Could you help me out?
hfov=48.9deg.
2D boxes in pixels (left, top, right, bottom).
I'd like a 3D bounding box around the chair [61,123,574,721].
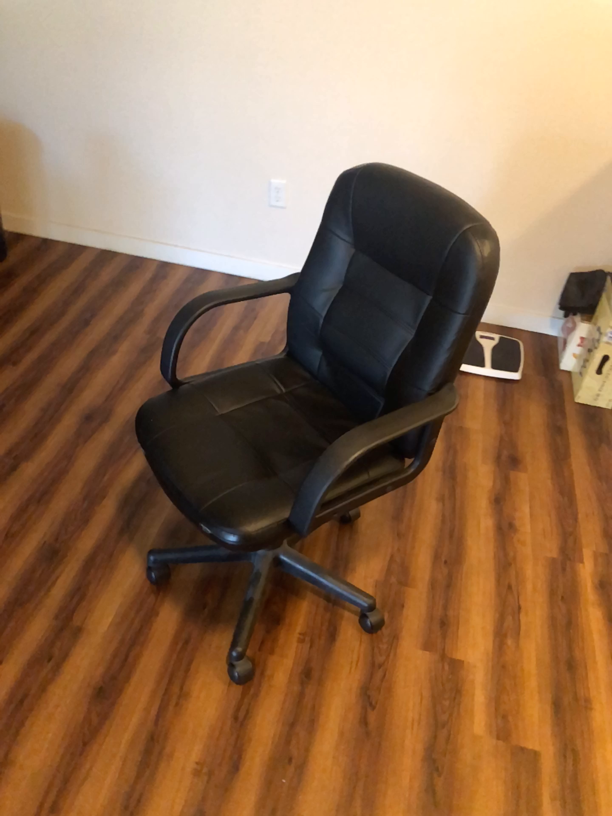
[{"bbox_3d":[-0.034,0.013,1.533,0.669,1.012,0.664,-21,47,-29],"label":"chair"}]
